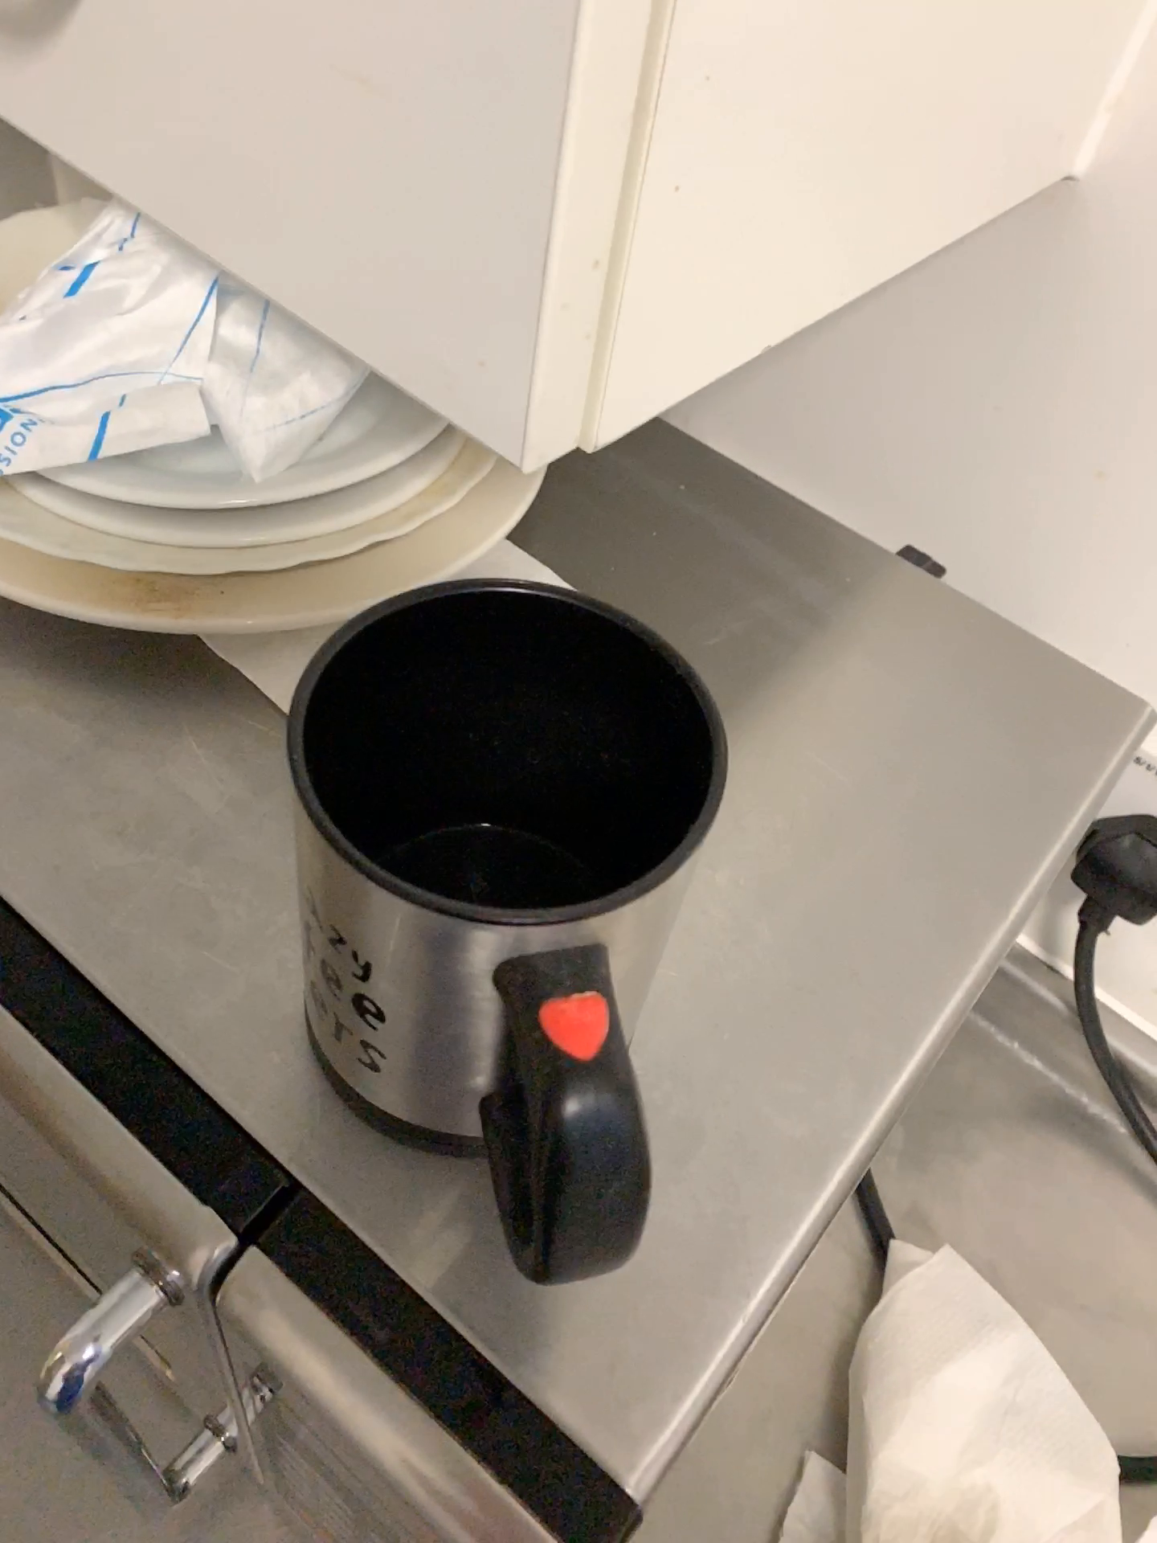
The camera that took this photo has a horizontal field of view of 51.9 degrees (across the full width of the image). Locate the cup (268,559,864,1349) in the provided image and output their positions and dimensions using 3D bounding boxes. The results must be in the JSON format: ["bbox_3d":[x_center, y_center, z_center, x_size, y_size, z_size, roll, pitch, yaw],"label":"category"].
[{"bbox_3d":[-0.018,0.038,0.270,0.096,0.108,0.134,-2,50,-12],"label":"cup"}]
